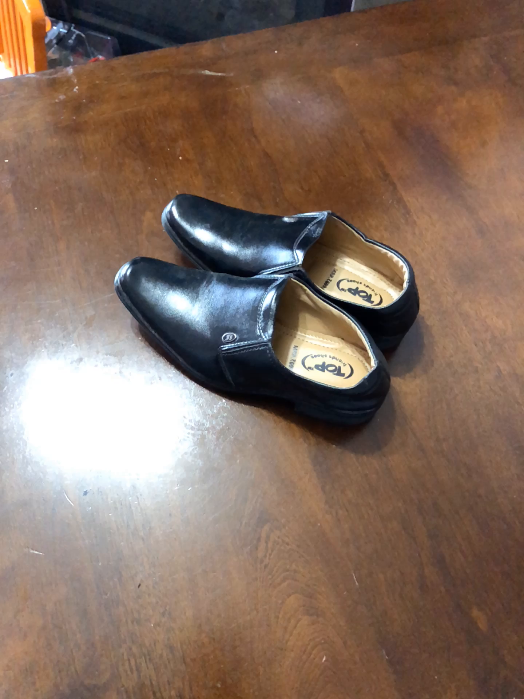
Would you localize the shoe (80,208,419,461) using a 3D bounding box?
[{"bbox_3d":[-0.011,-0.011,0.462,0.230,0.090,0.090,23,64,9],"label":"shoe"}]

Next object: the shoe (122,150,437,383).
[{"bbox_3d":[0.012,-0.070,0.490,0.230,0.080,0.090,23,64,9],"label":"shoe"}]
